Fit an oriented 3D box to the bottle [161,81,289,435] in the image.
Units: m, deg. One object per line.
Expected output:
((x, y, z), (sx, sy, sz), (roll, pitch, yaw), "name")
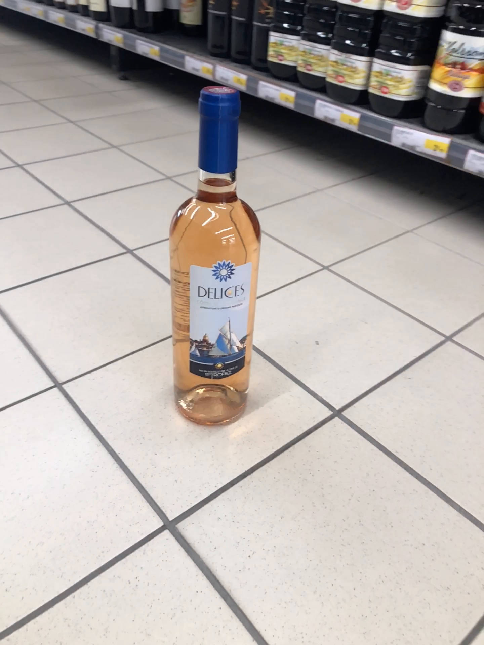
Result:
((-0.022, -0.038, 0.448), (0.080, 0.288, 0.080), (3, 35, -2), "bottle")
